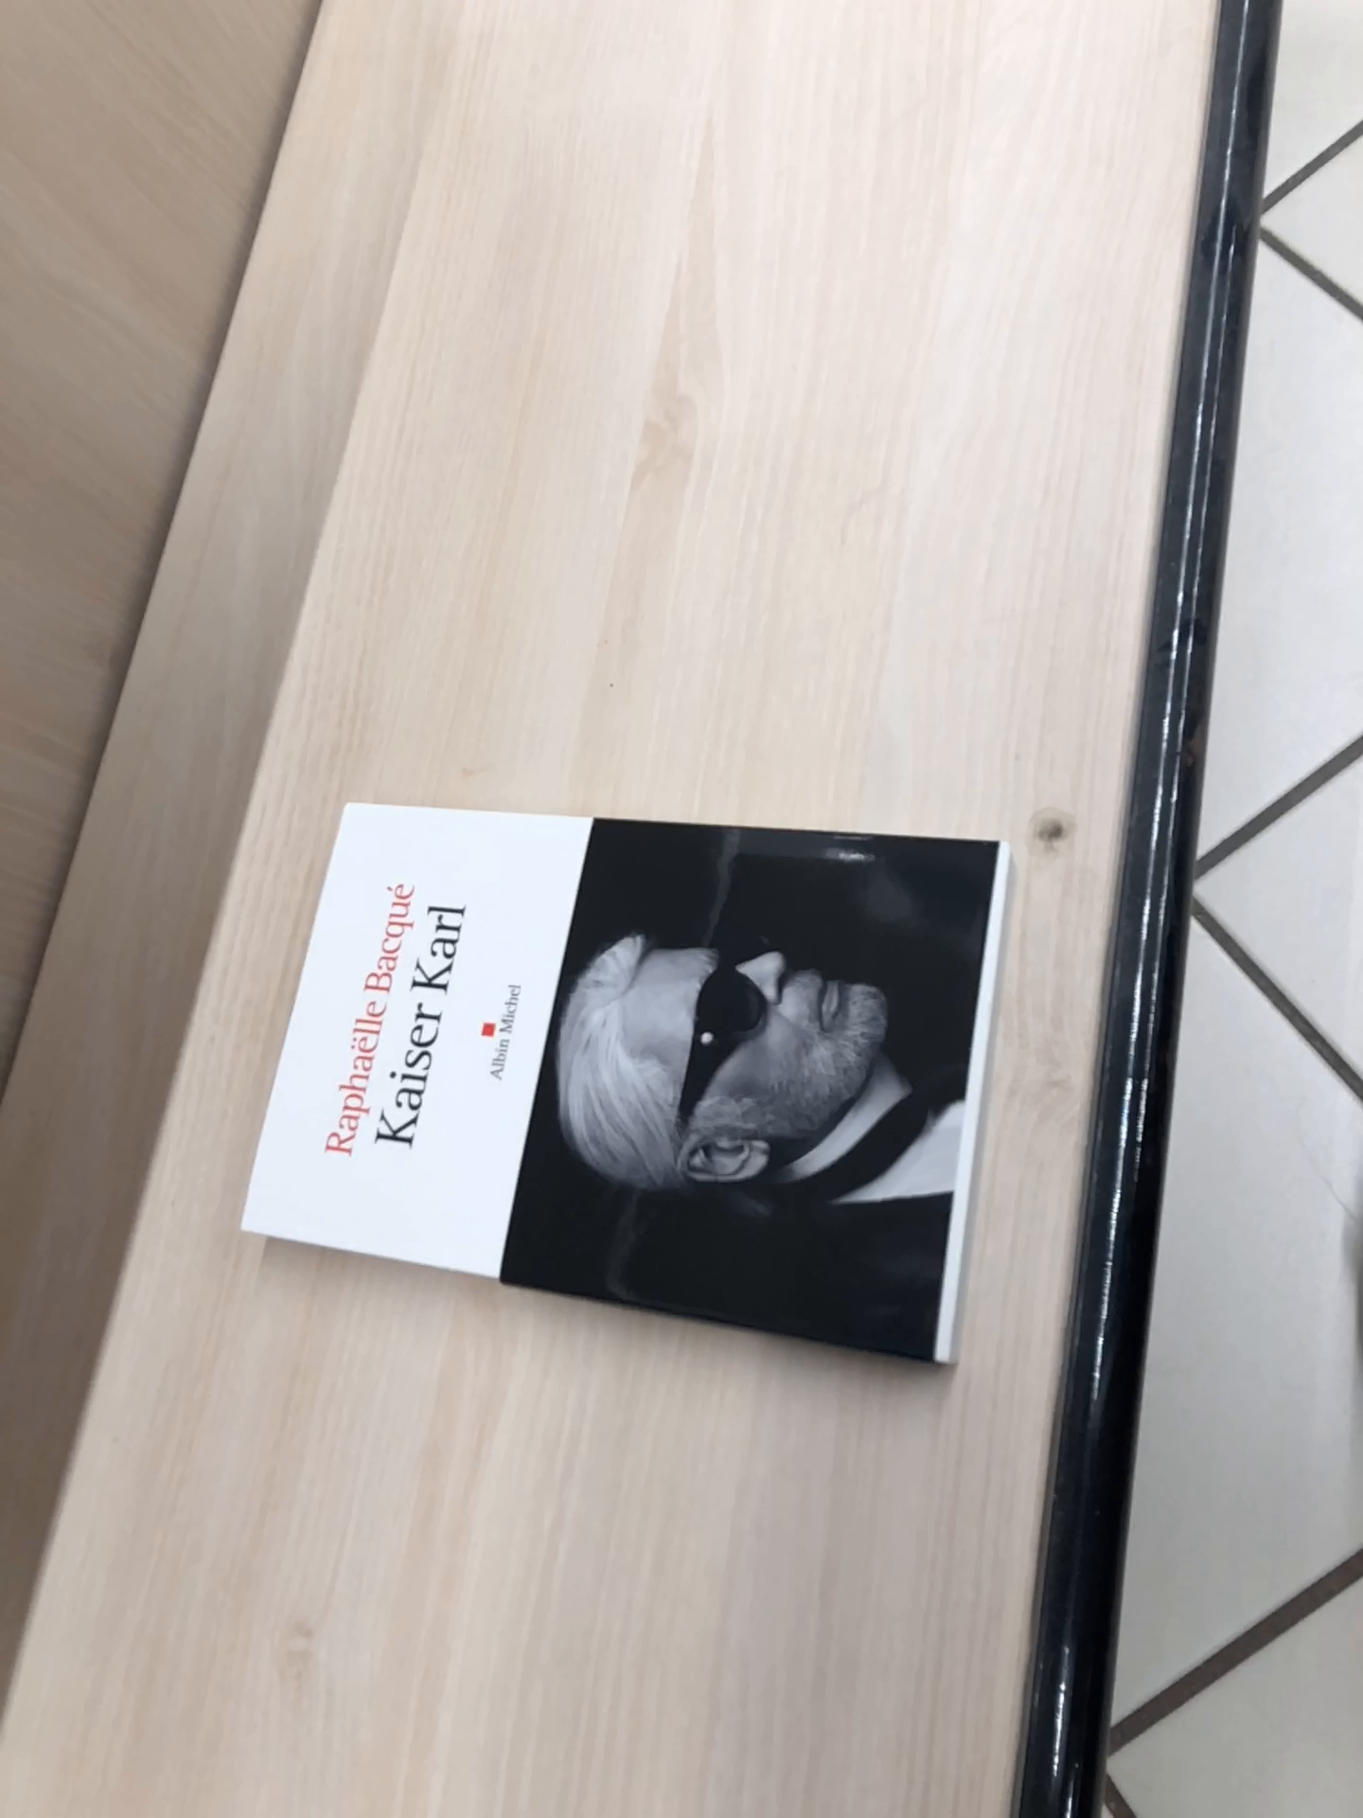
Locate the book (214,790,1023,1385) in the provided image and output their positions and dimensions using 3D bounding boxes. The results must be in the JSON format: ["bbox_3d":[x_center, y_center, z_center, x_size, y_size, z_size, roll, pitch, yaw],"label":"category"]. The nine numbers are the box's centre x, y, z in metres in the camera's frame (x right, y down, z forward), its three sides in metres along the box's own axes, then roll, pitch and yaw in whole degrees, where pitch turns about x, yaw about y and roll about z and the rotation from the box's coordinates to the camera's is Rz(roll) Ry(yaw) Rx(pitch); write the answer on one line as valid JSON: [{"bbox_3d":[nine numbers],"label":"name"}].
[{"bbox_3d":[-0.019,0.044,0.442,0.220,0.030,0.150,4,72,20],"label":"book"}]
